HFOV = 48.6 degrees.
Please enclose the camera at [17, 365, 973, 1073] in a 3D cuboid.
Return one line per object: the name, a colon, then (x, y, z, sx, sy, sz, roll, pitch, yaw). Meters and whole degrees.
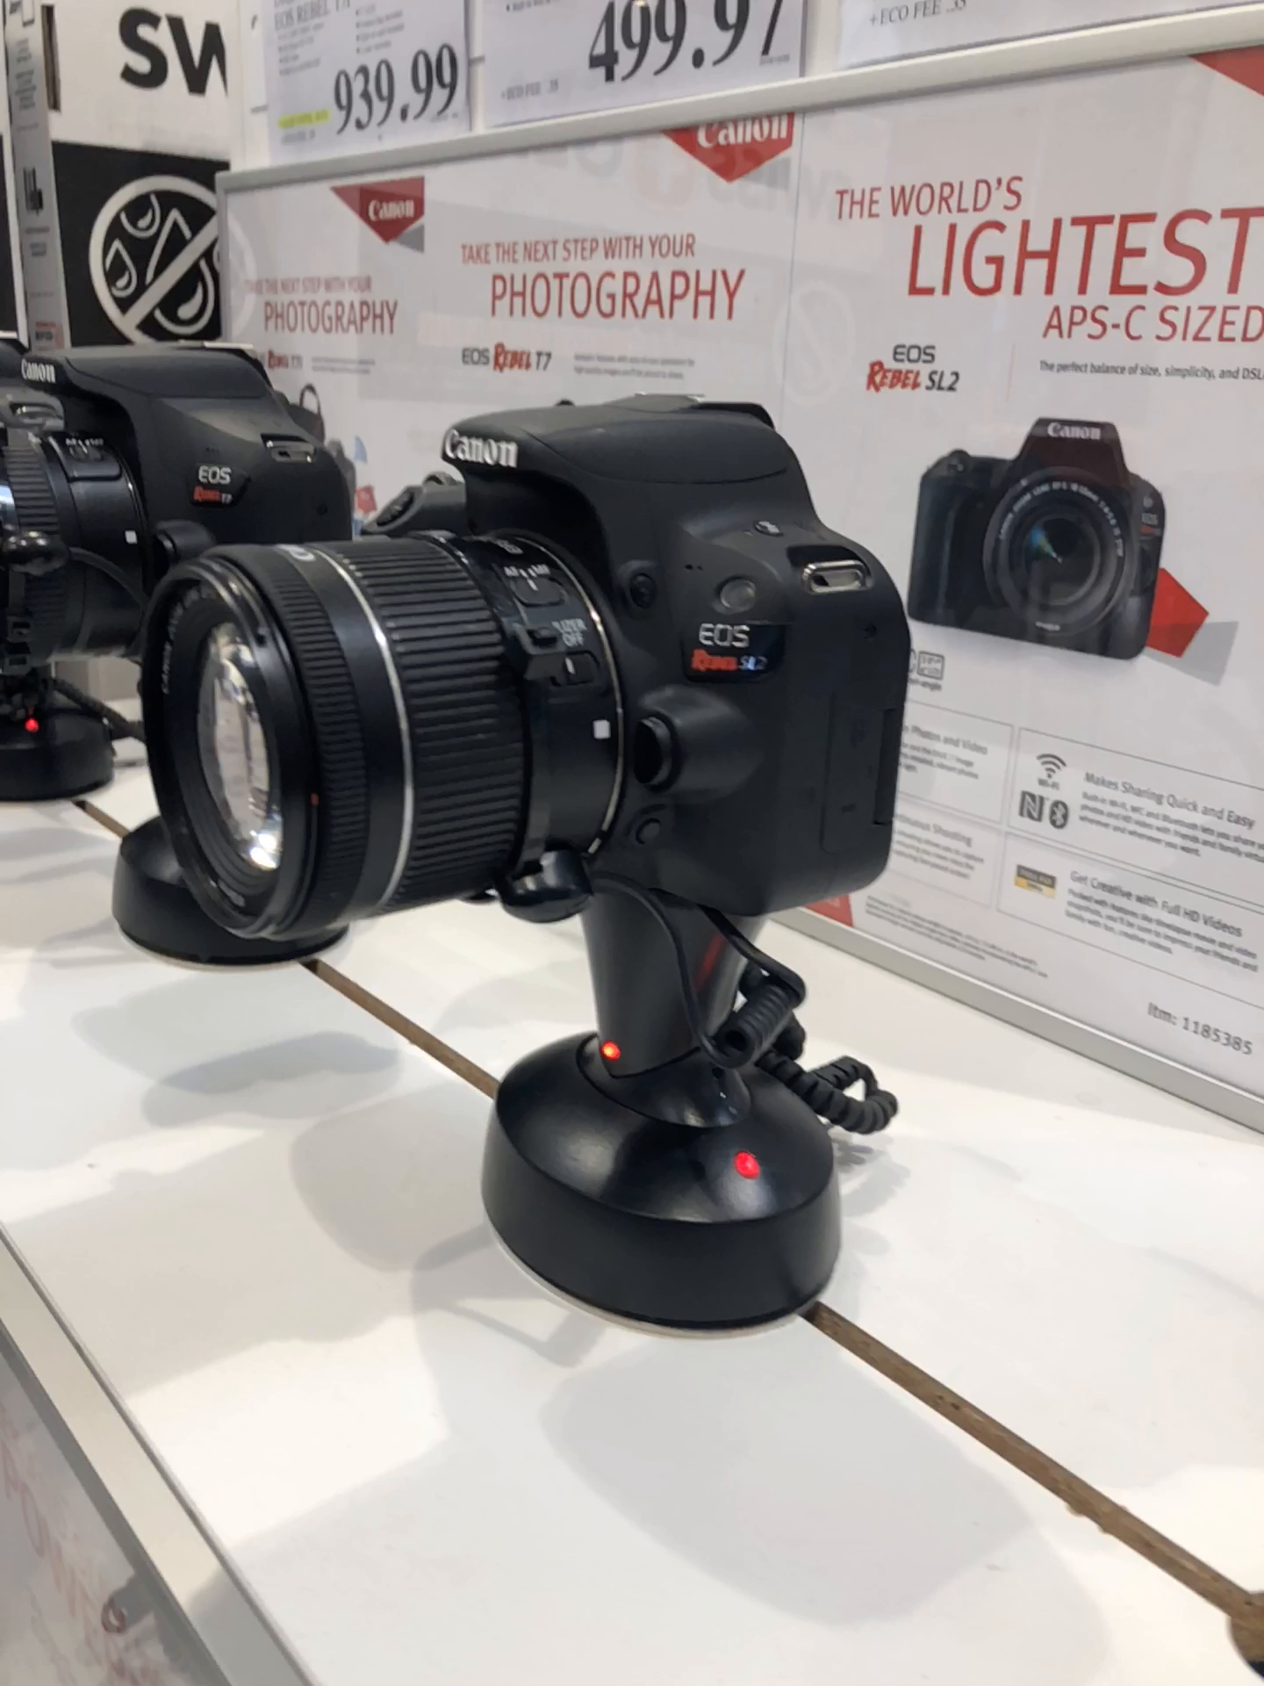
camera: (-0.031, -0.039, 0.264, 0.120, 0.090, 0.131, -11, 23, -35)
